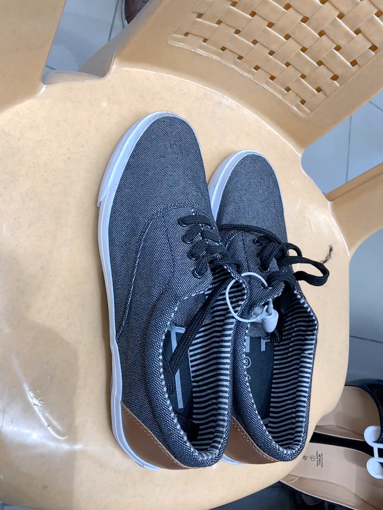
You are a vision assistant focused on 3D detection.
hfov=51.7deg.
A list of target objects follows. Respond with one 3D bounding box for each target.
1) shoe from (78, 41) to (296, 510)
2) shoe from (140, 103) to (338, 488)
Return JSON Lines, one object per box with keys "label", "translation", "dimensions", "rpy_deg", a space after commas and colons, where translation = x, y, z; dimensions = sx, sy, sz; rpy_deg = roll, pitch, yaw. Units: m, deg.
{"label": "shoe", "translation": [-0.004, 0.019, 0.275], "dimensions": [0.100, 0.110, 0.260], "rpy_deg": [7, 80, -30]}
{"label": "shoe", "translation": [0.043, 0.032, 0.350], "dimensions": [0.110, 0.110, 0.270], "rpy_deg": [12, 78, -29]}
